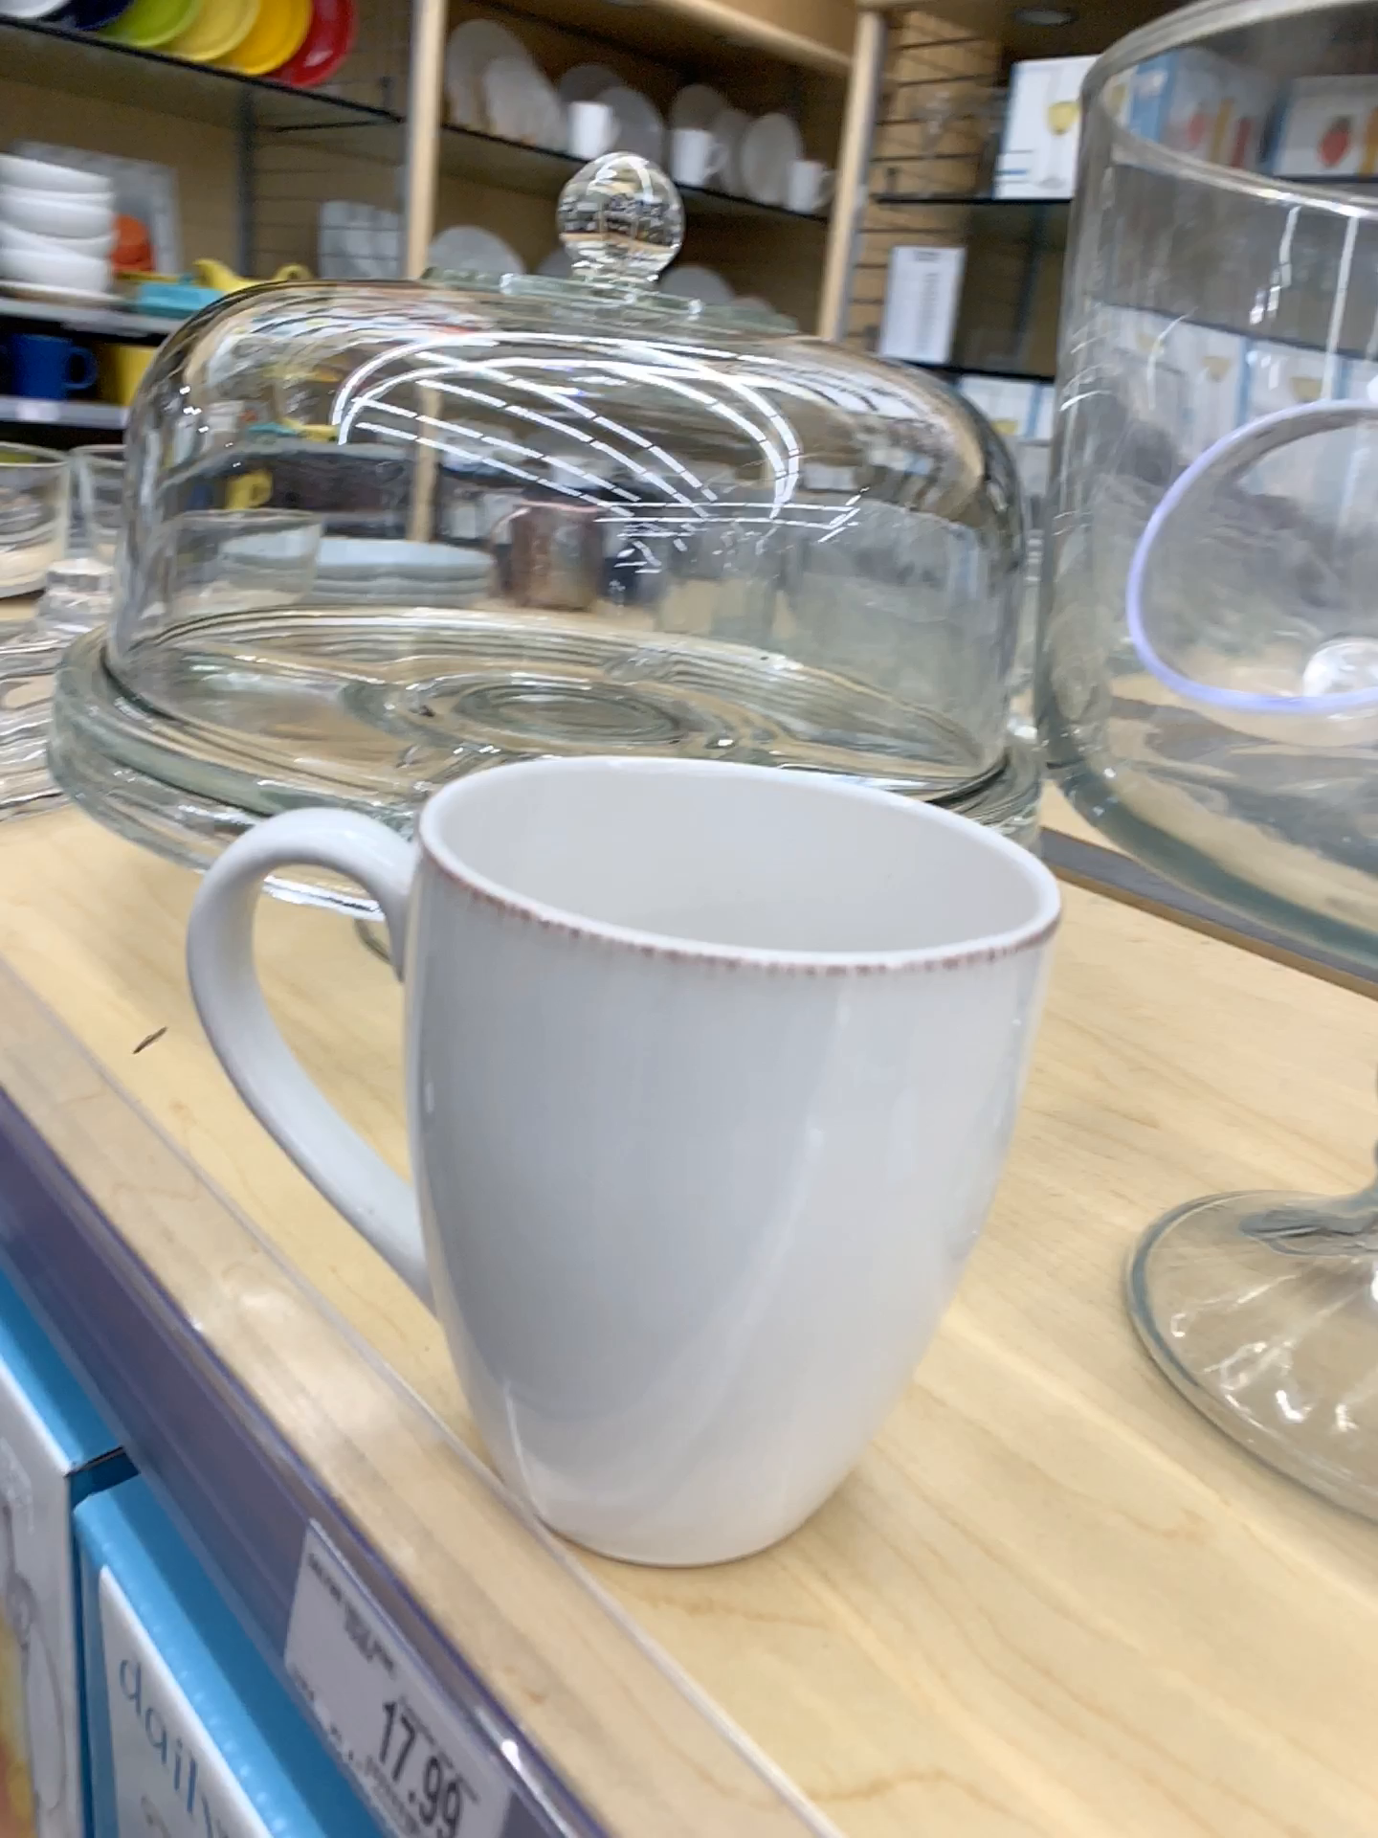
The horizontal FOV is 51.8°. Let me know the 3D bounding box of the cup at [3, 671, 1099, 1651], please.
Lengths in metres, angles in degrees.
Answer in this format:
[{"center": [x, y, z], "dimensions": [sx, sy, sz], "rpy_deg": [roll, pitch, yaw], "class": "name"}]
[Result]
[{"center": [-0.015, 0.027, 0.225], "dimensions": [0.130, 0.094, 0.096], "rpy_deg": [10, 23, 7], "class": "cup"}]
